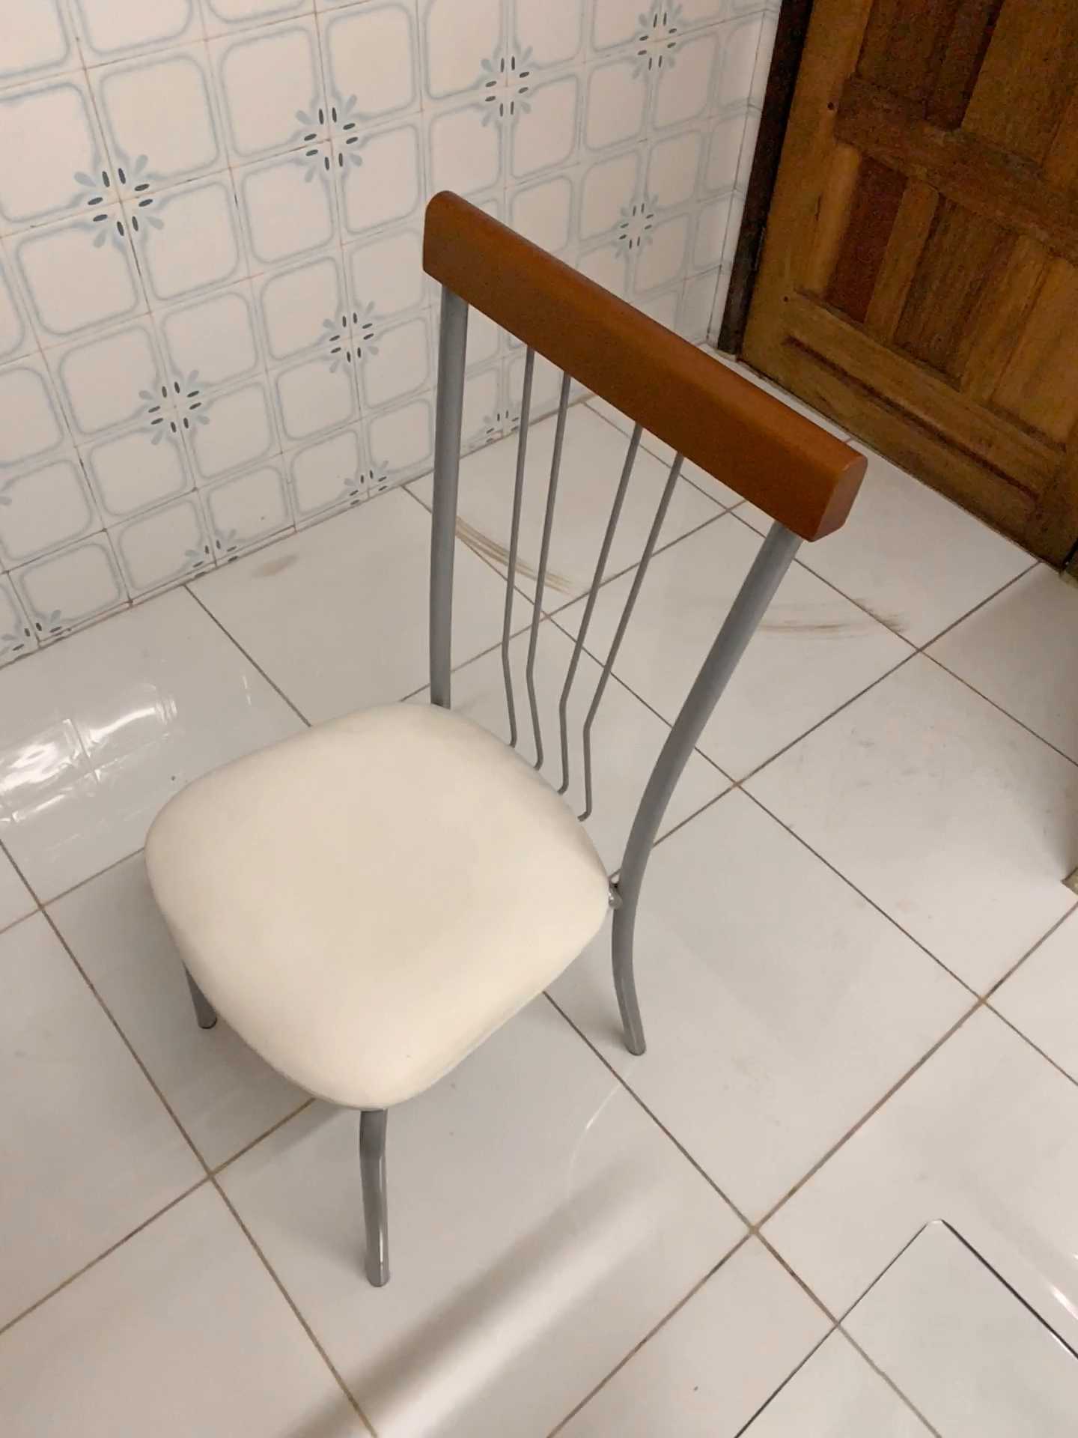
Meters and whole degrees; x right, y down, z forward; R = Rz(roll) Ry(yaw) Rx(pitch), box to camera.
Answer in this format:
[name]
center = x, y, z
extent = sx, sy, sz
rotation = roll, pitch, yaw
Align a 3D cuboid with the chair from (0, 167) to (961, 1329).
[chair]
center = -0.105, 0.093, 1.033
extent = 0.511, 0.886, 0.481
rotation = -32, 59, -25
